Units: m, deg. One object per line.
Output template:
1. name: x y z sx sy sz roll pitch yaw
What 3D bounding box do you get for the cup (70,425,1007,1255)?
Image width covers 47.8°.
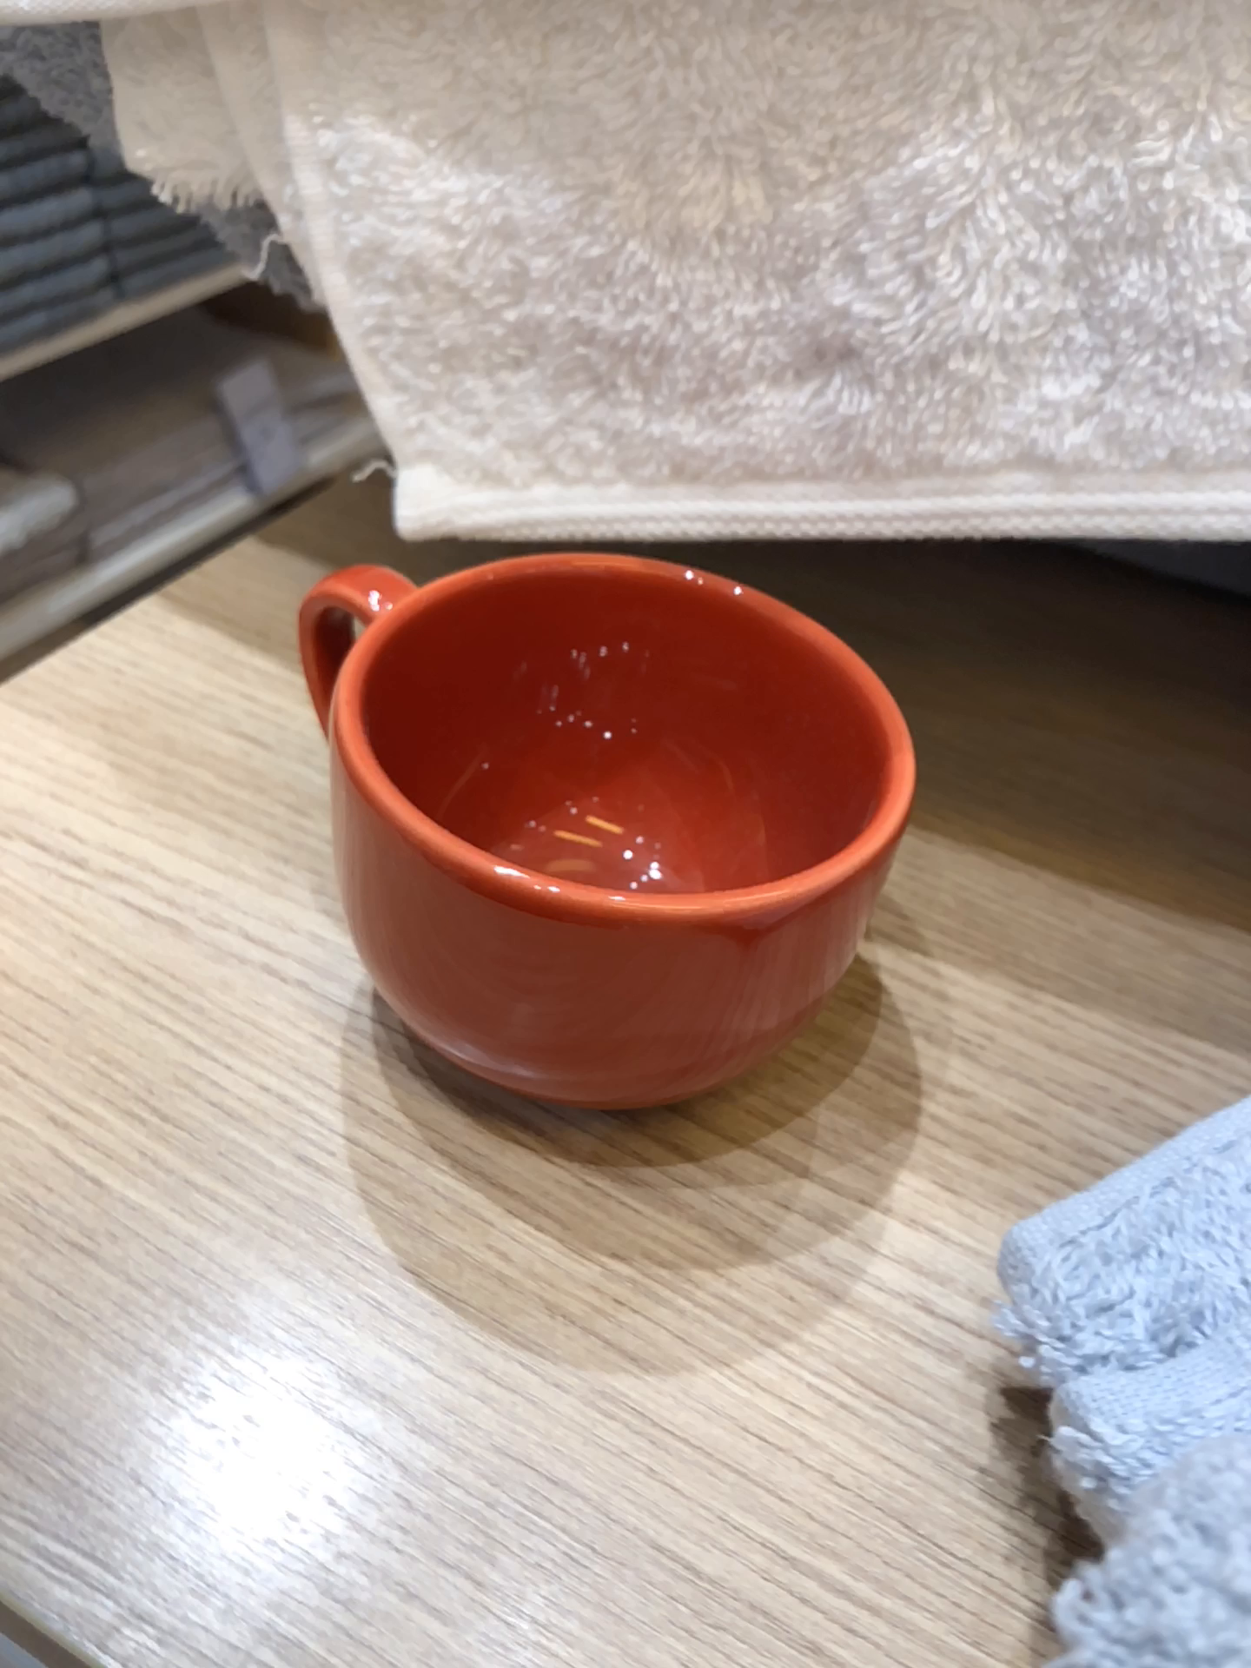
1. cup: -0.012 -0.007 0.209 0.100 0.050 0.081 29 44 20
